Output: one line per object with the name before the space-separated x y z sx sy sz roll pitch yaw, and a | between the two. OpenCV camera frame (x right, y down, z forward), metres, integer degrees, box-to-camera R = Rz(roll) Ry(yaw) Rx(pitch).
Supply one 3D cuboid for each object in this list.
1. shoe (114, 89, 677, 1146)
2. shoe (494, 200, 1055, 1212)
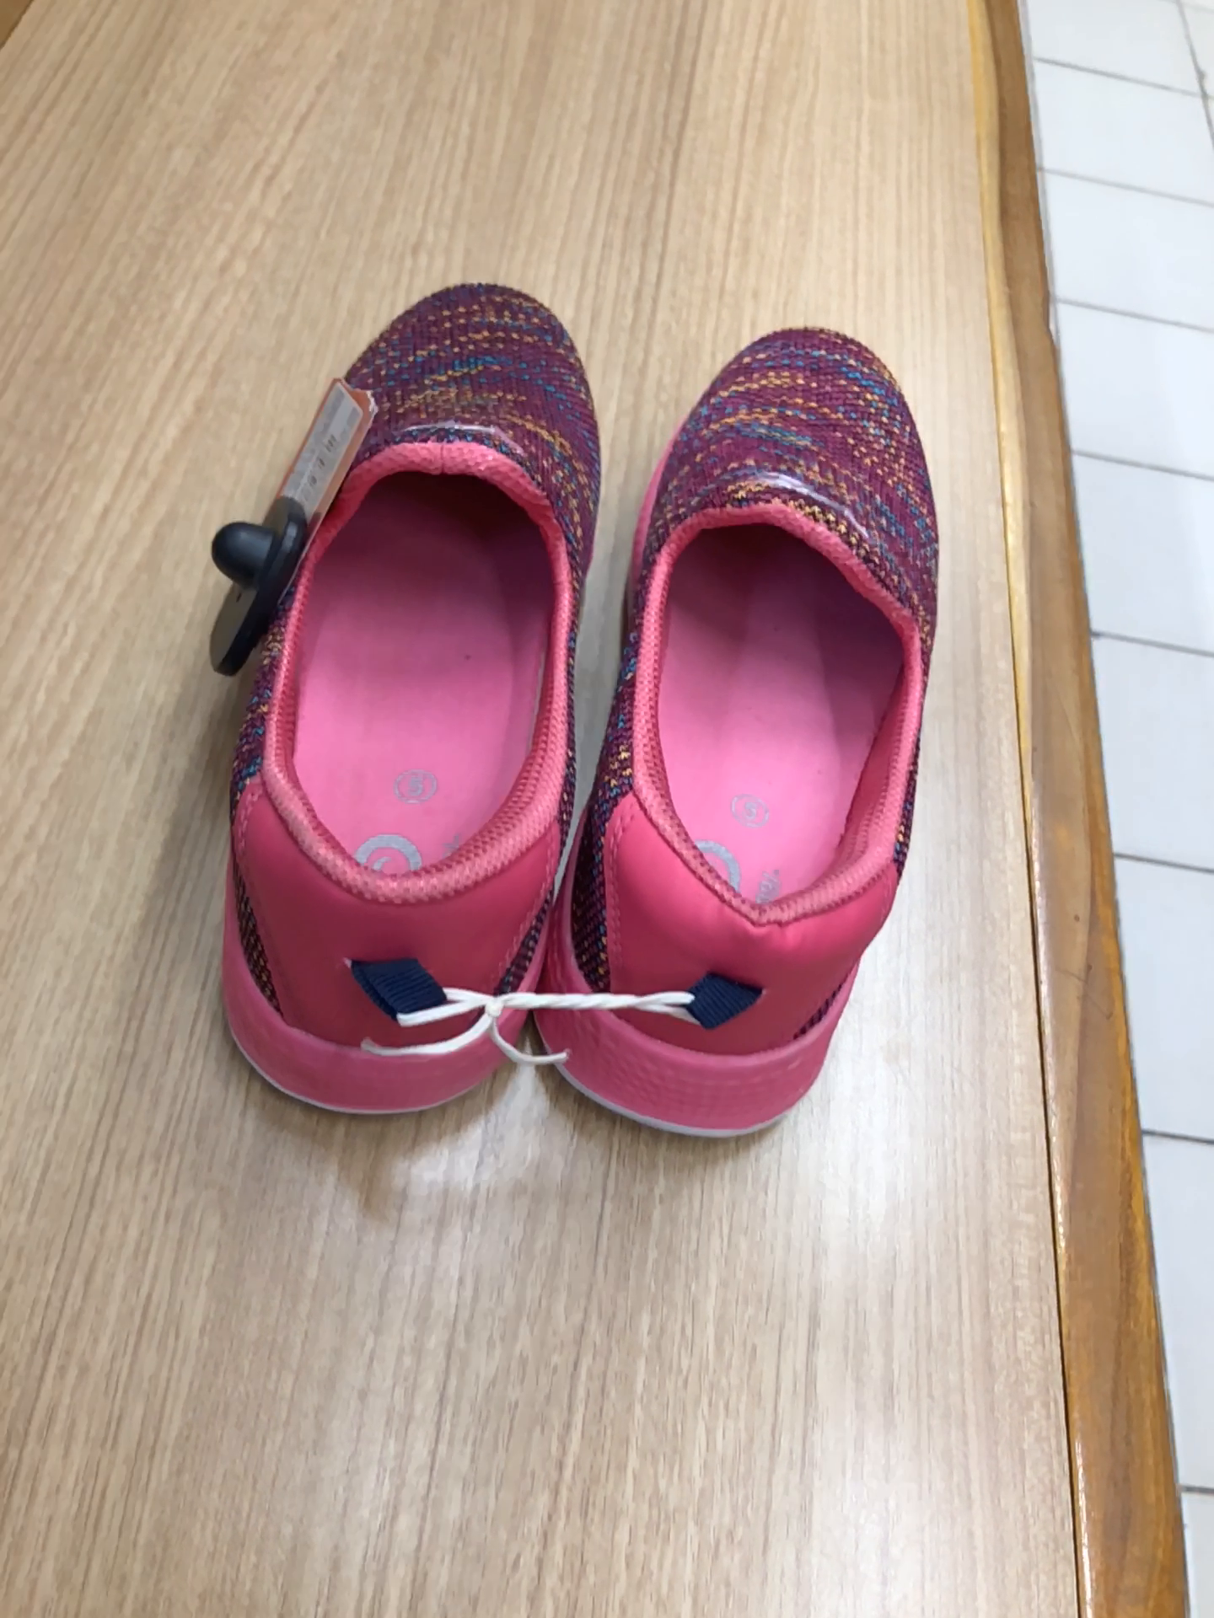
shoe | -0.040 -0.056 0.346 0.090 0.099 0.251 7 58 -5
shoe | 0.053 -0.039 0.384 0.100 0.099 0.261 15 58 -1
